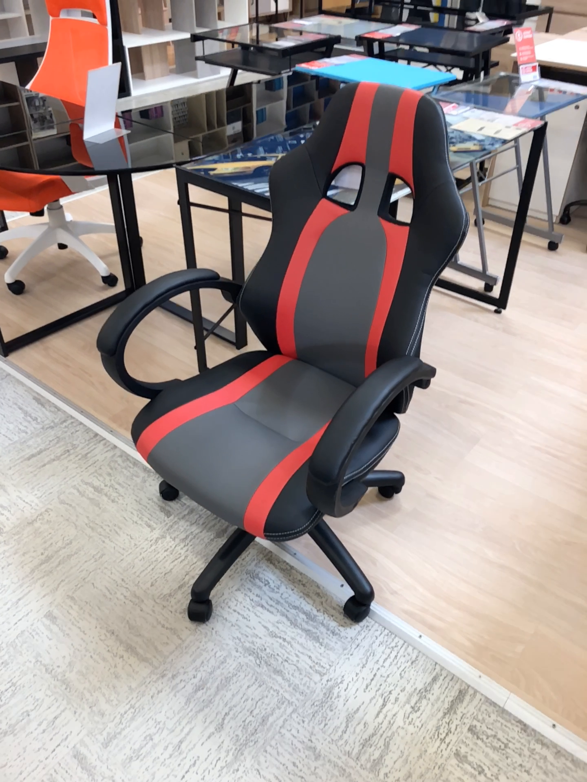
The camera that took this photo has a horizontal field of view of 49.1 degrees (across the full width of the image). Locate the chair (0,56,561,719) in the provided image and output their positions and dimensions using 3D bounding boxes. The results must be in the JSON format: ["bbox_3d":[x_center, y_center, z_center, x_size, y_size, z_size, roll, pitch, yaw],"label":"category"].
[{"bbox_3d":[-0.057,-0.070,1.282,0.690,0.924,0.694,27,44,31],"label":"chair"}]
